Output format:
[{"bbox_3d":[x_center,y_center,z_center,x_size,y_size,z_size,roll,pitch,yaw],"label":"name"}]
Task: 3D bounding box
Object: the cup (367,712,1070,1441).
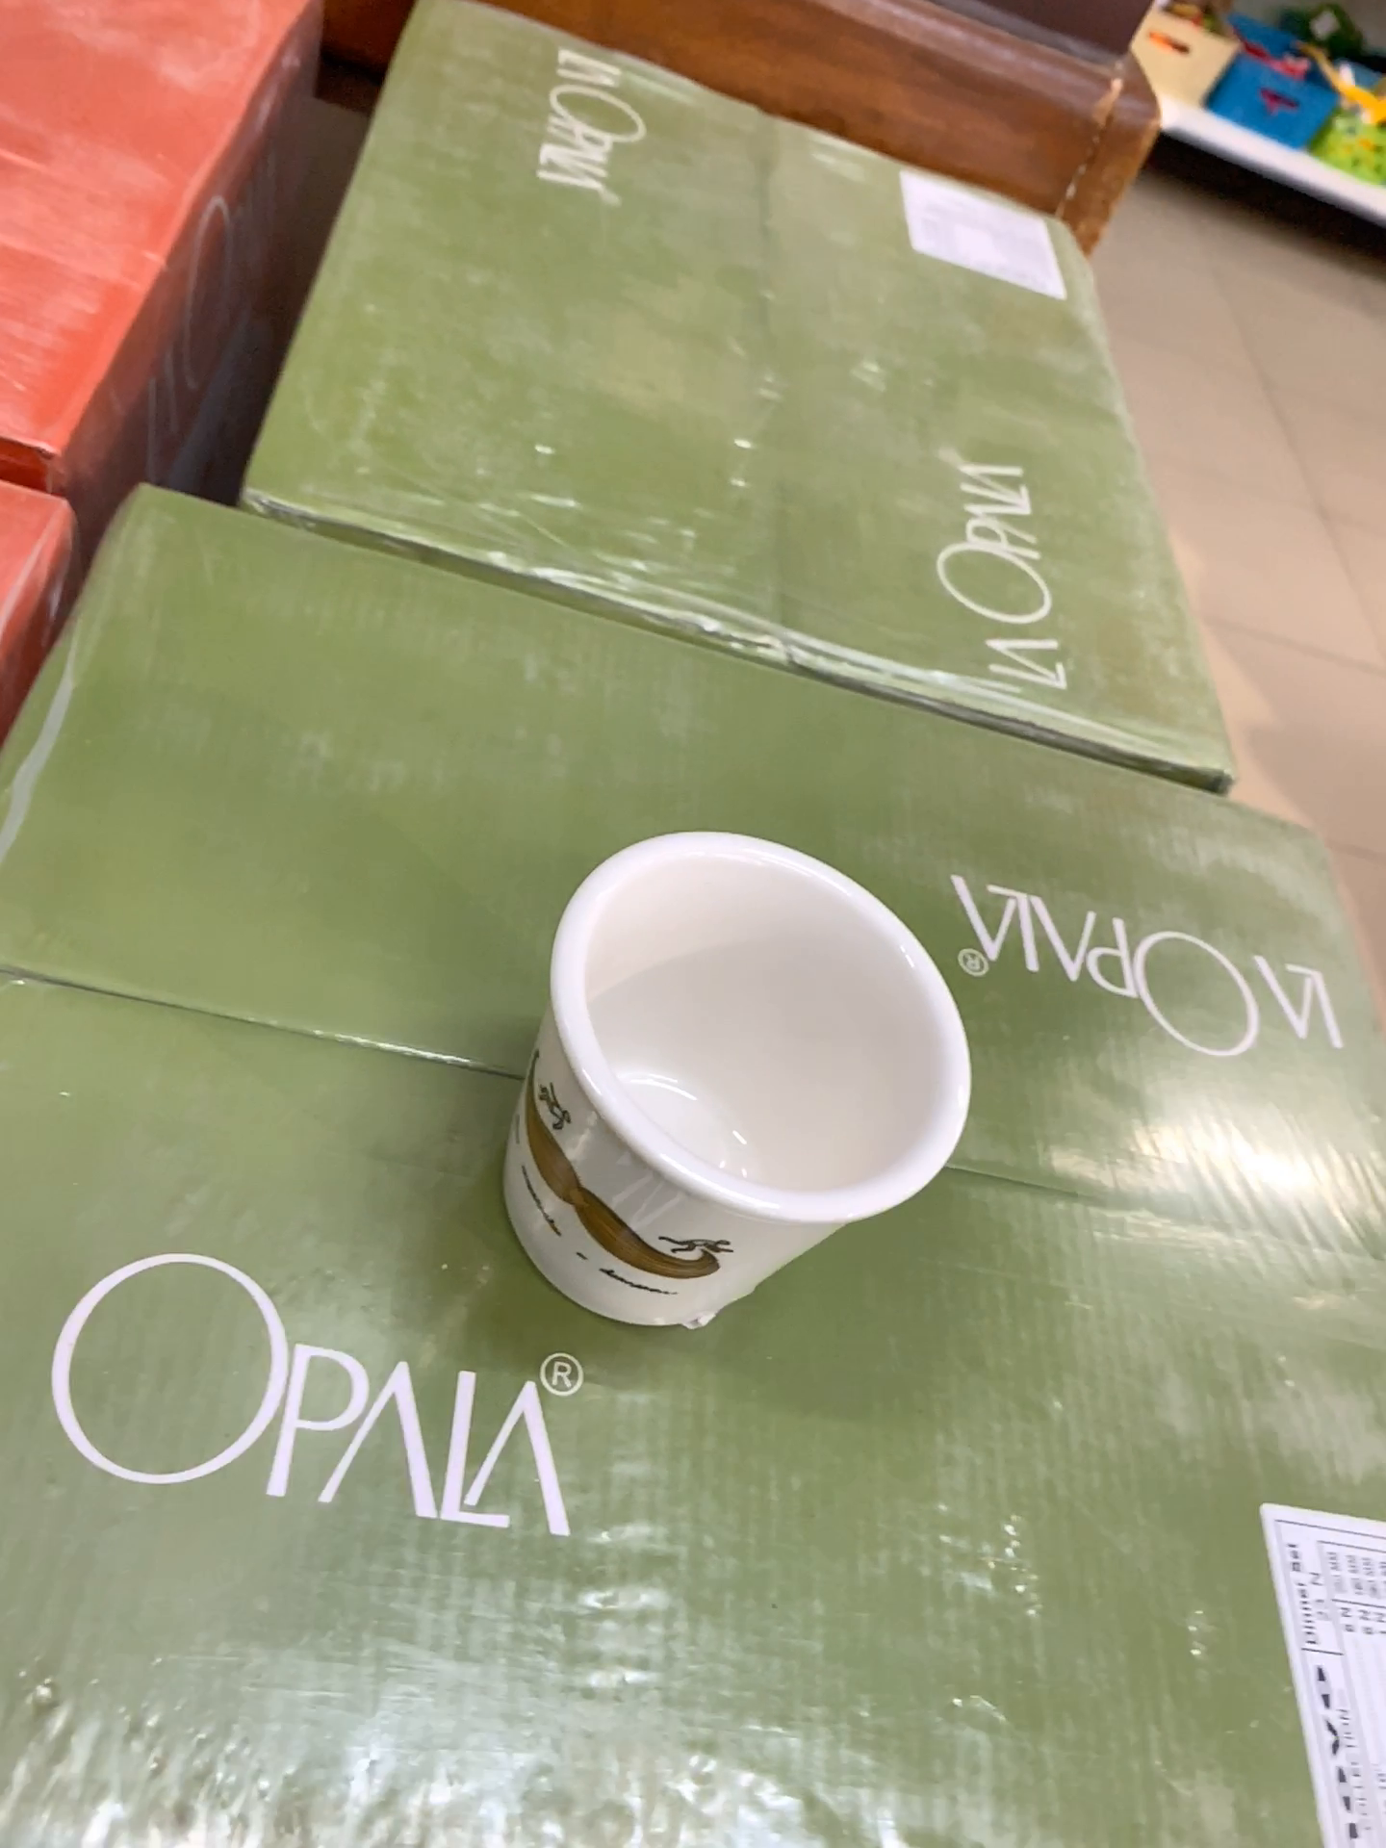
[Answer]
[{"bbox_3d":[0.003,0.022,0.230,0.070,0.060,0.070,12,49,-14],"label":"cup"}]
